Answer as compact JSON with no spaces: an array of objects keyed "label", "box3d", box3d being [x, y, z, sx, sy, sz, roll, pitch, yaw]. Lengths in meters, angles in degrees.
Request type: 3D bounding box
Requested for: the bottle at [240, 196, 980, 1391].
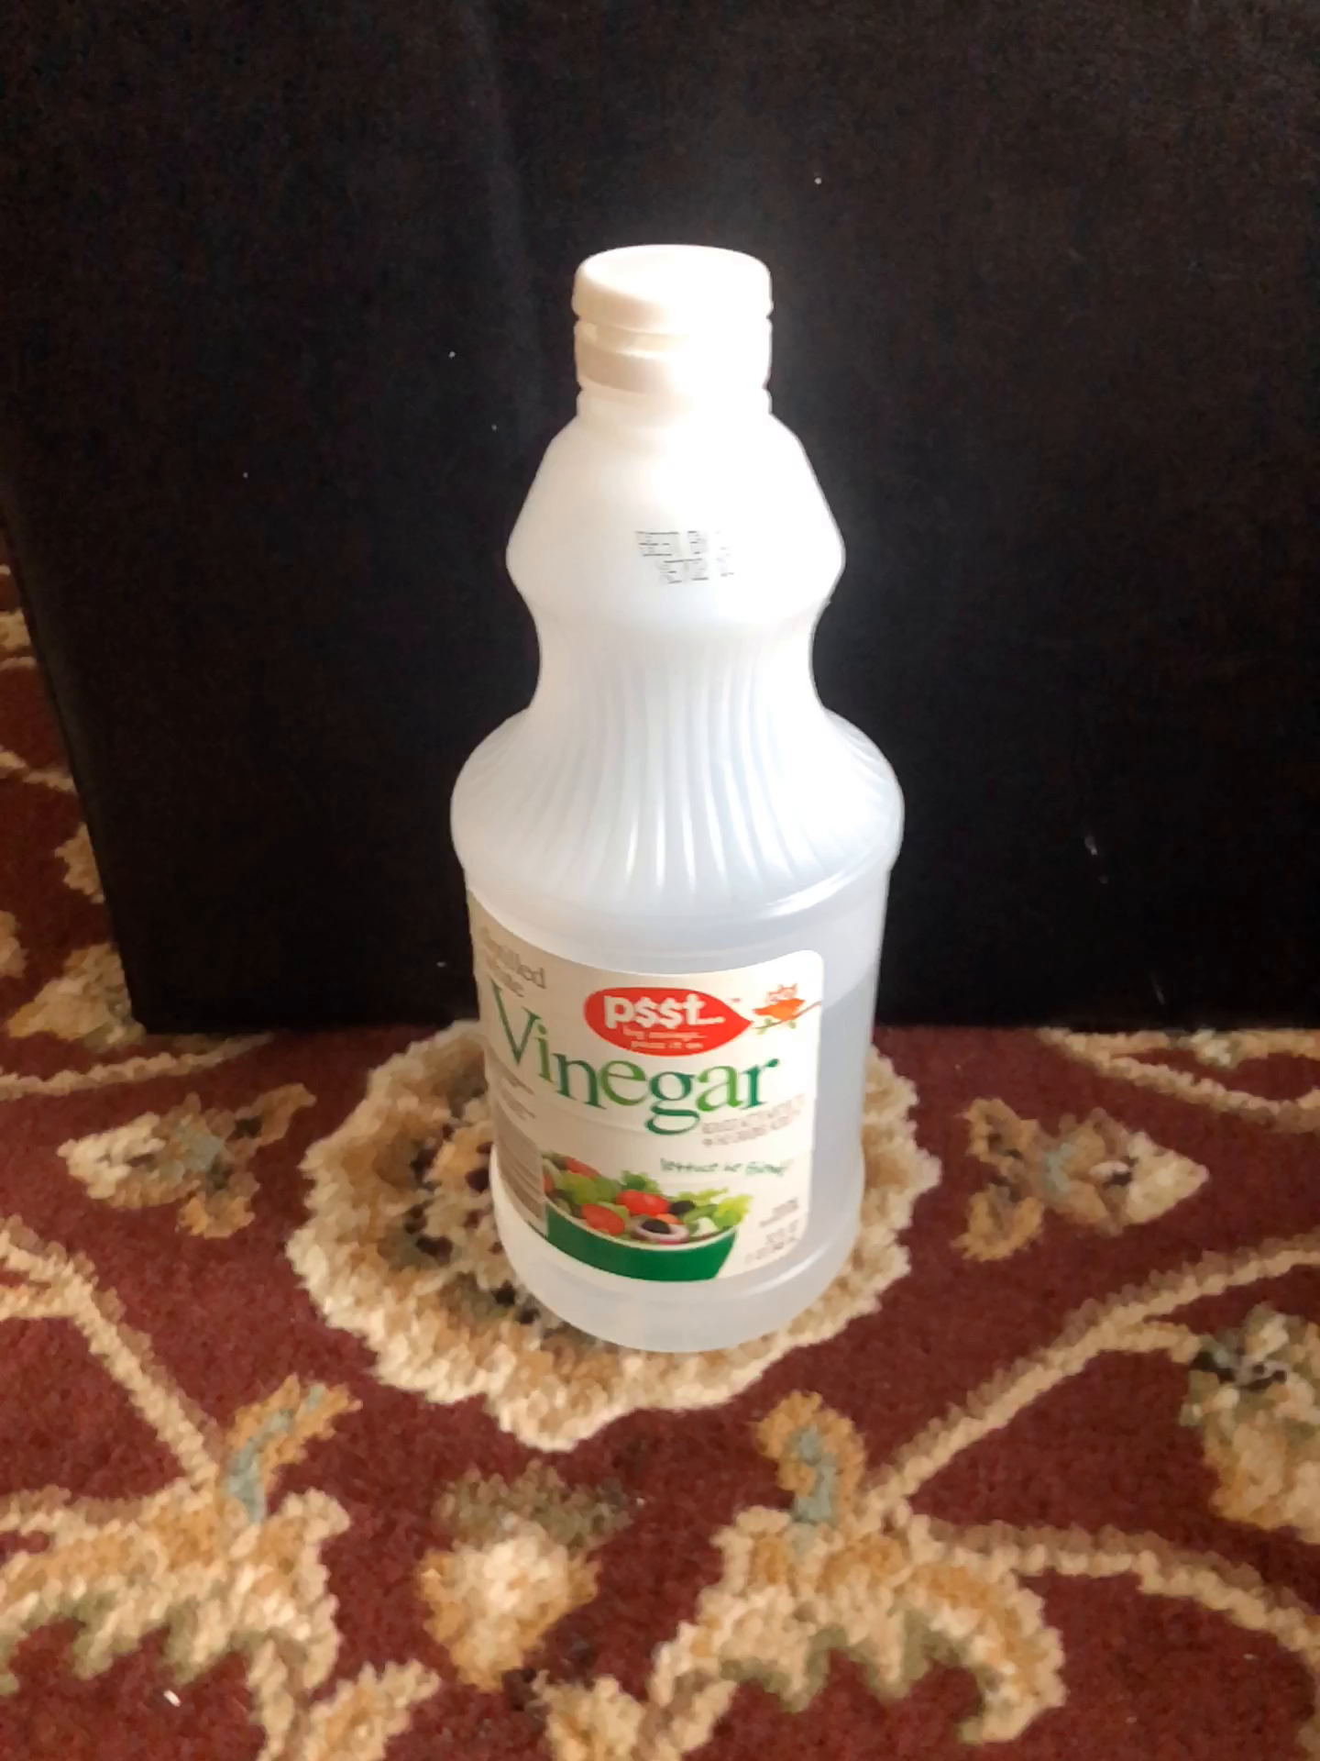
[{"label":"bottle","box3d":[0.001,-0.009,0.299,0.100,0.219,0.090,6,37,10]}]
